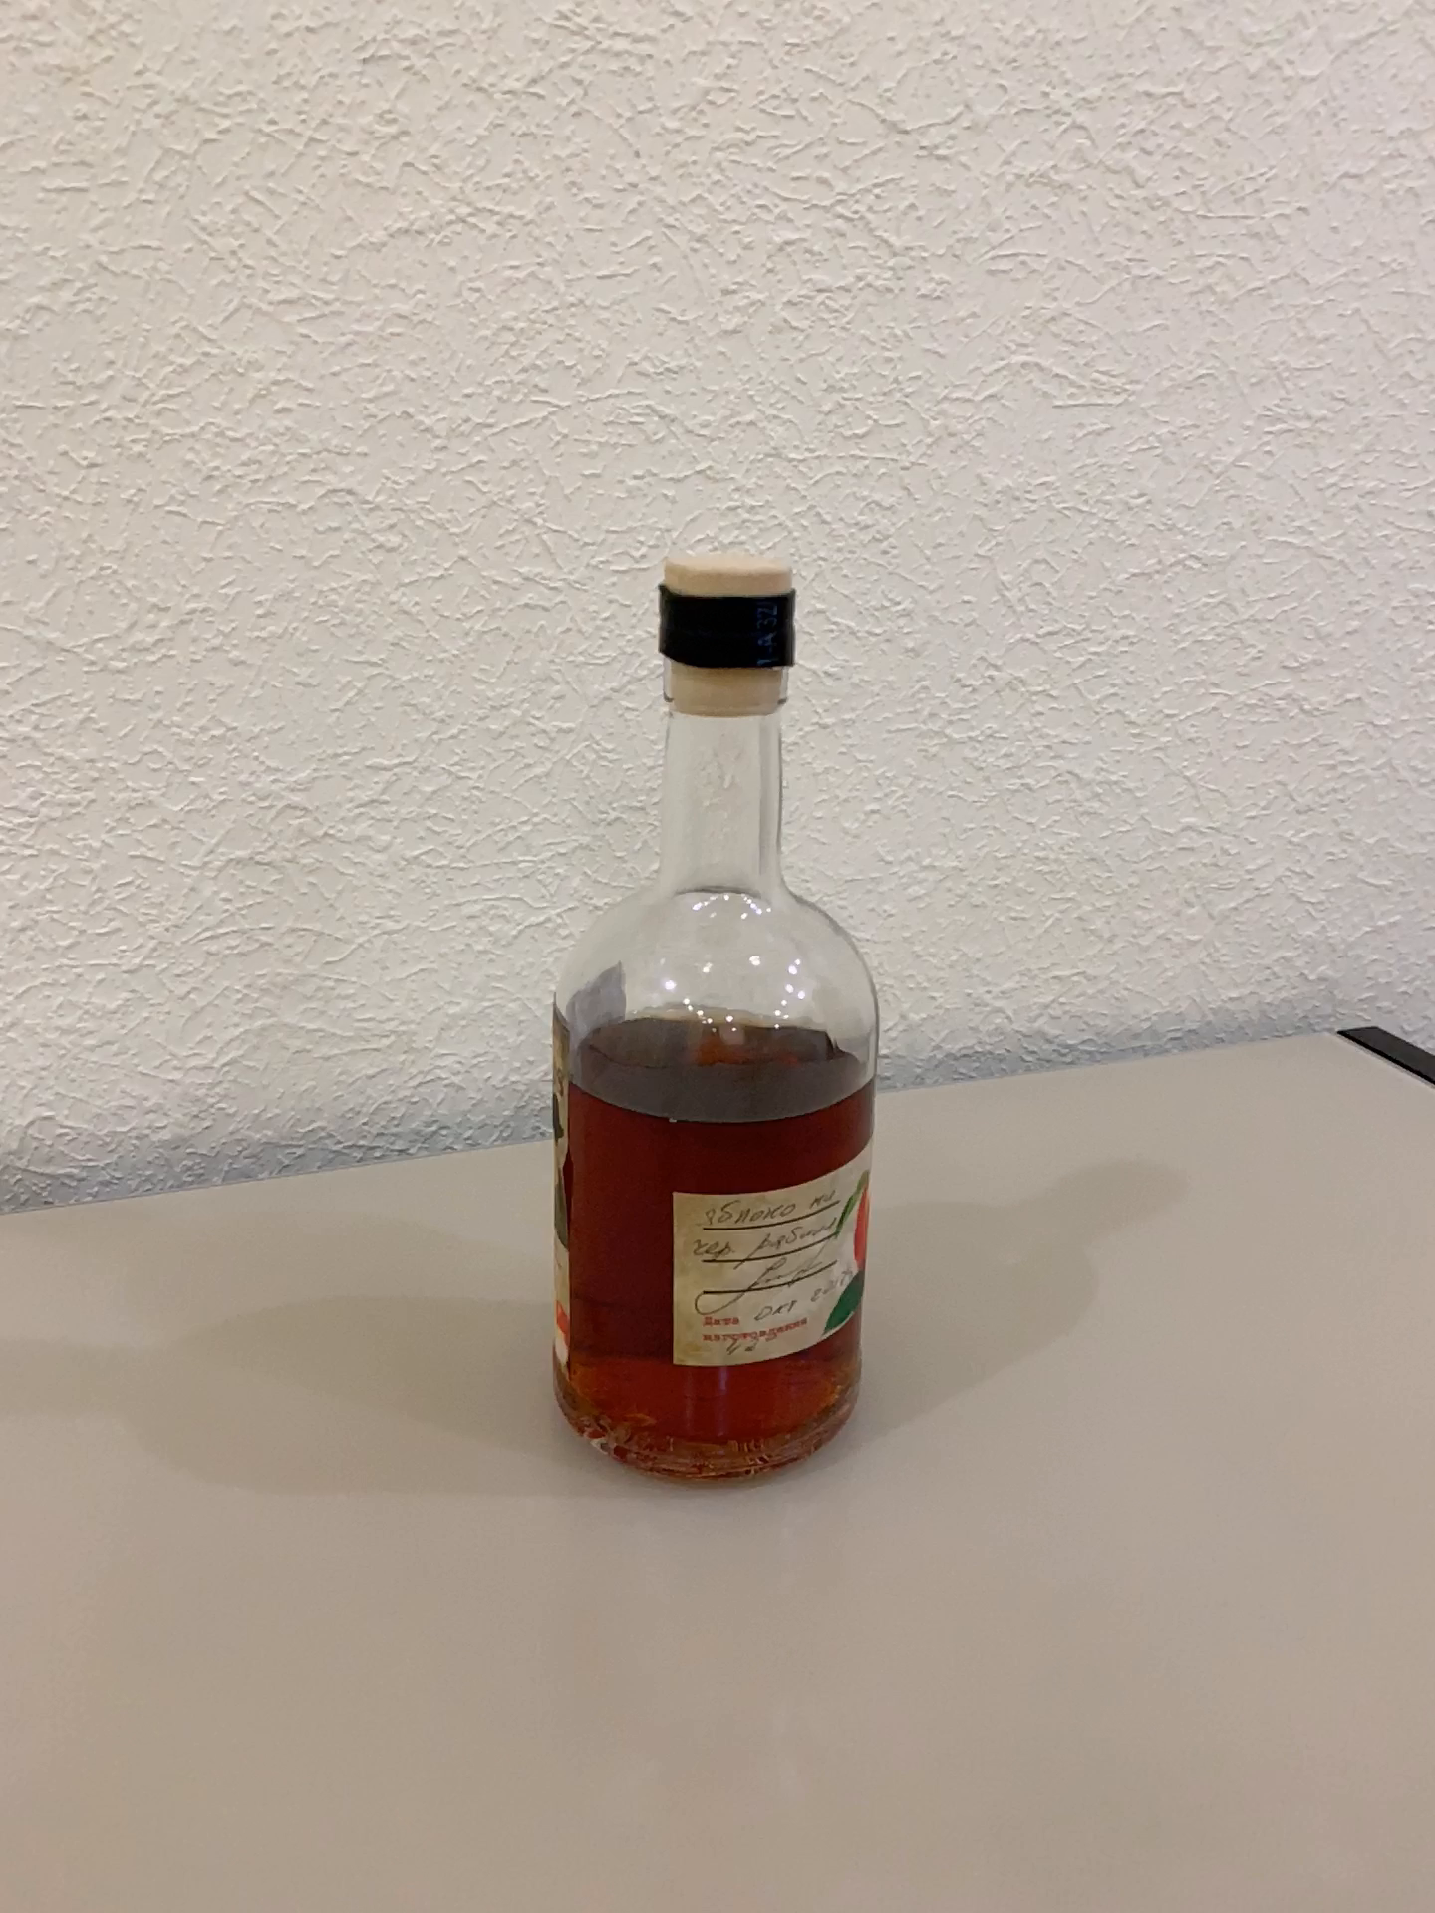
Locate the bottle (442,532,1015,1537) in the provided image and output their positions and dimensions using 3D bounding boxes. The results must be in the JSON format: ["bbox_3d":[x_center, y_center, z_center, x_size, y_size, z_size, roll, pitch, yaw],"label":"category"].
[{"bbox_3d":[0.001,0.010,0.343,0.090,0.201,0.080,-16,25,-42],"label":"bottle"}]
